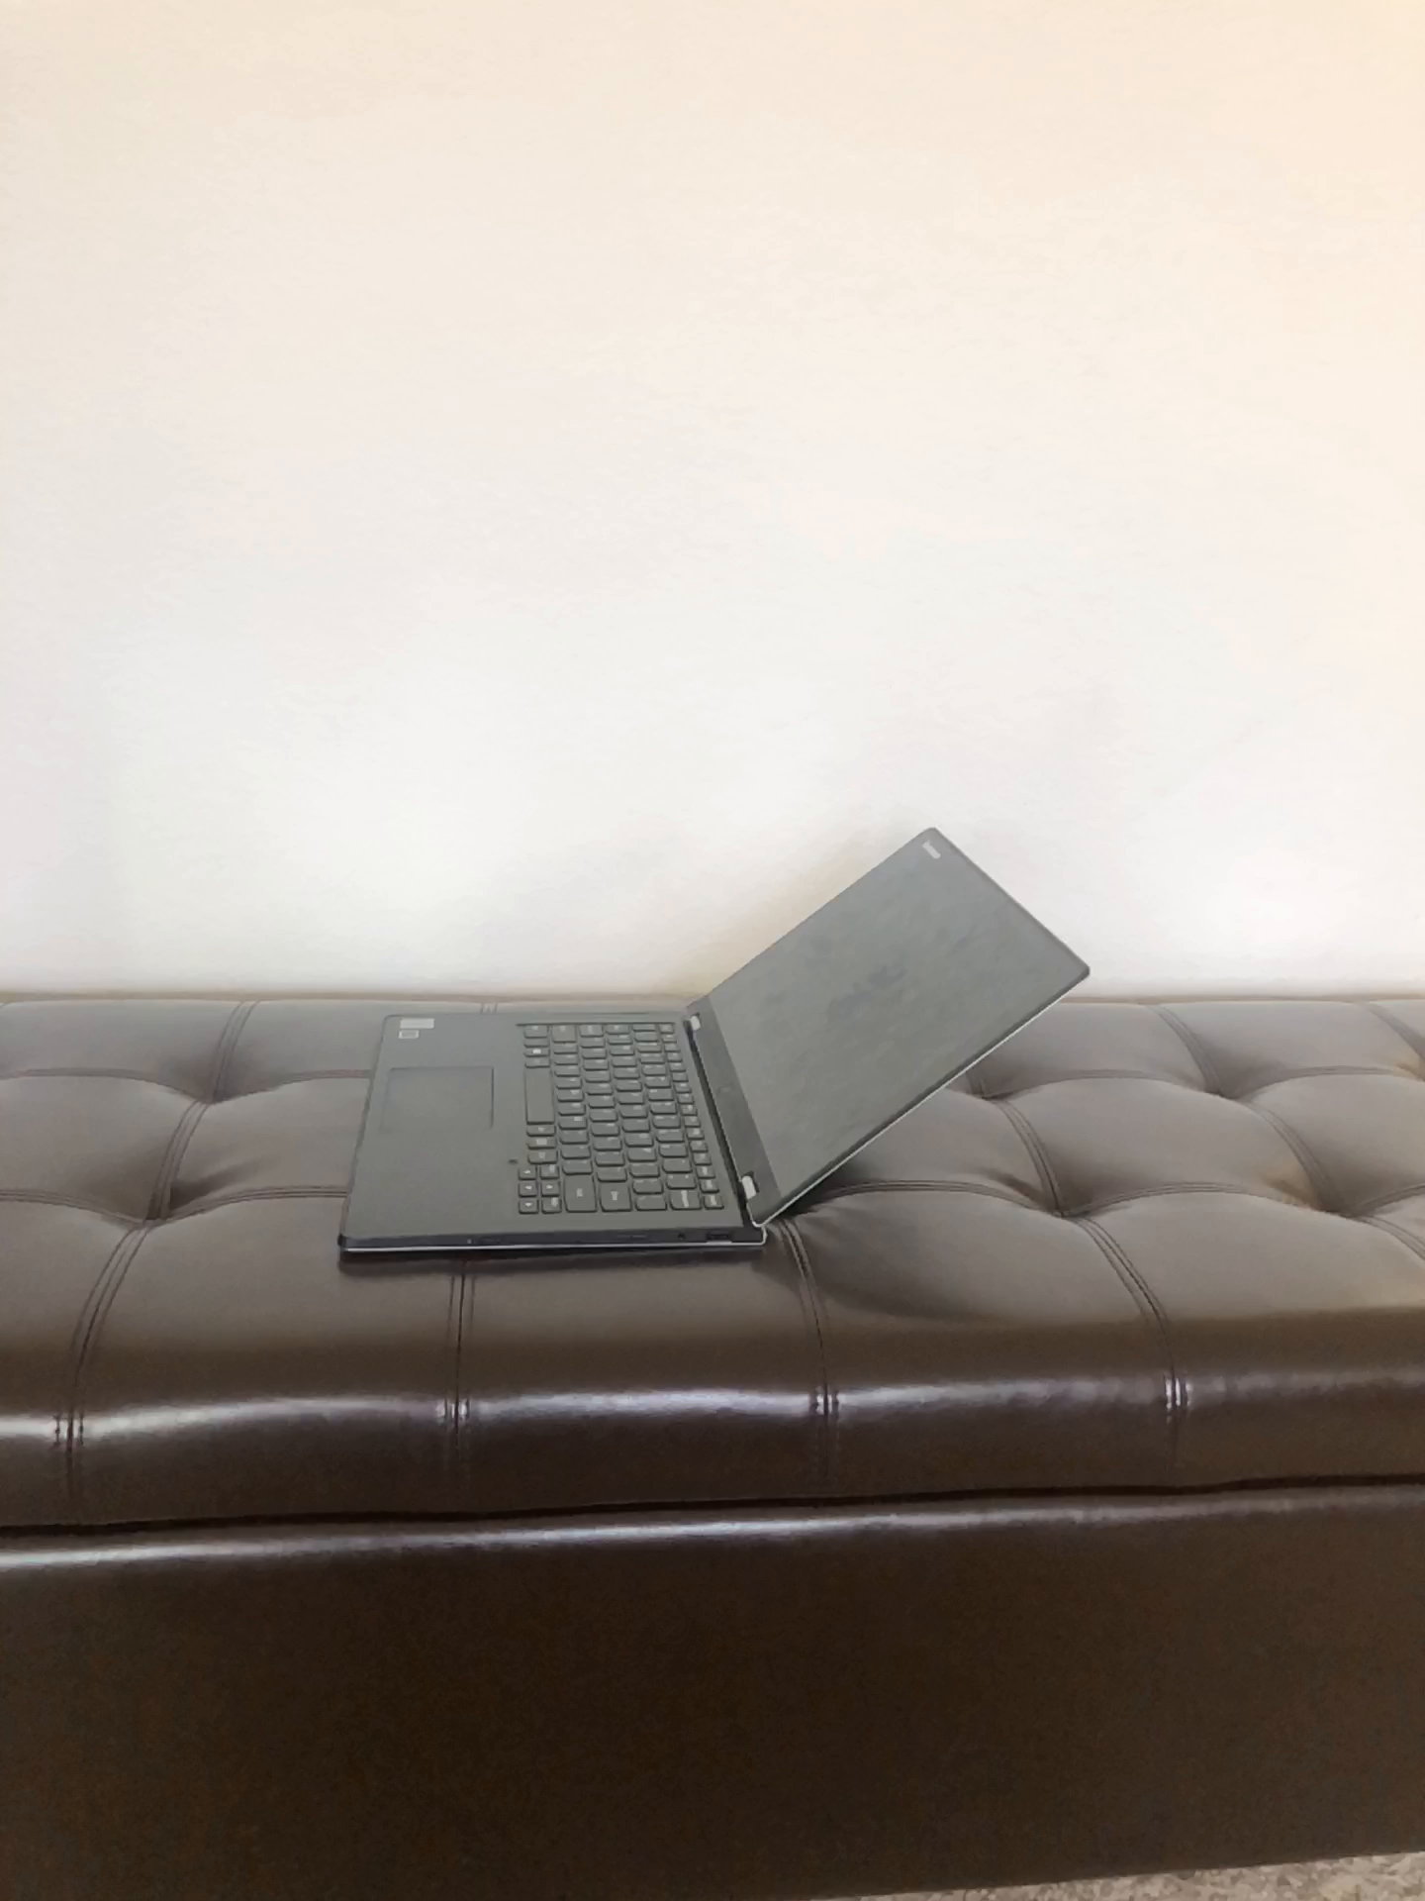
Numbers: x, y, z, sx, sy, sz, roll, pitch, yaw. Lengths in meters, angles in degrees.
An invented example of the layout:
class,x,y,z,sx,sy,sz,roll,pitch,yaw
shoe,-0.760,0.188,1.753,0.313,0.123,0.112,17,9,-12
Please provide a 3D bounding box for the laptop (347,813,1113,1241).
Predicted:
class,x,y,z,sx,sy,sz,roll,pitch,yaw
laptop,-0.008,0.020,0.781,0.317,0.115,0.262,-1,18,-8
